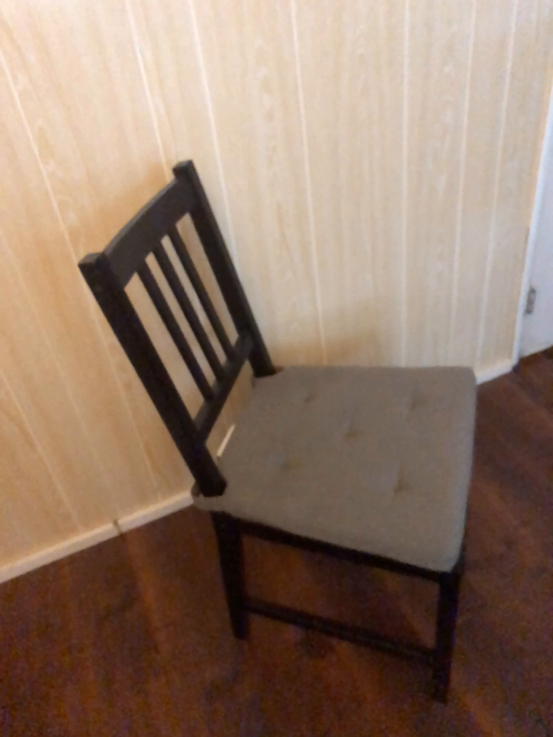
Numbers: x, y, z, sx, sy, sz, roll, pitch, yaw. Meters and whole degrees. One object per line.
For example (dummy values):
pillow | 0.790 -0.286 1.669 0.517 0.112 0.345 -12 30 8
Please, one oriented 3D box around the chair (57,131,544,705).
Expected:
chair | 0.100 0.102 1.042 0.511 0.834 0.443 5 40 16
